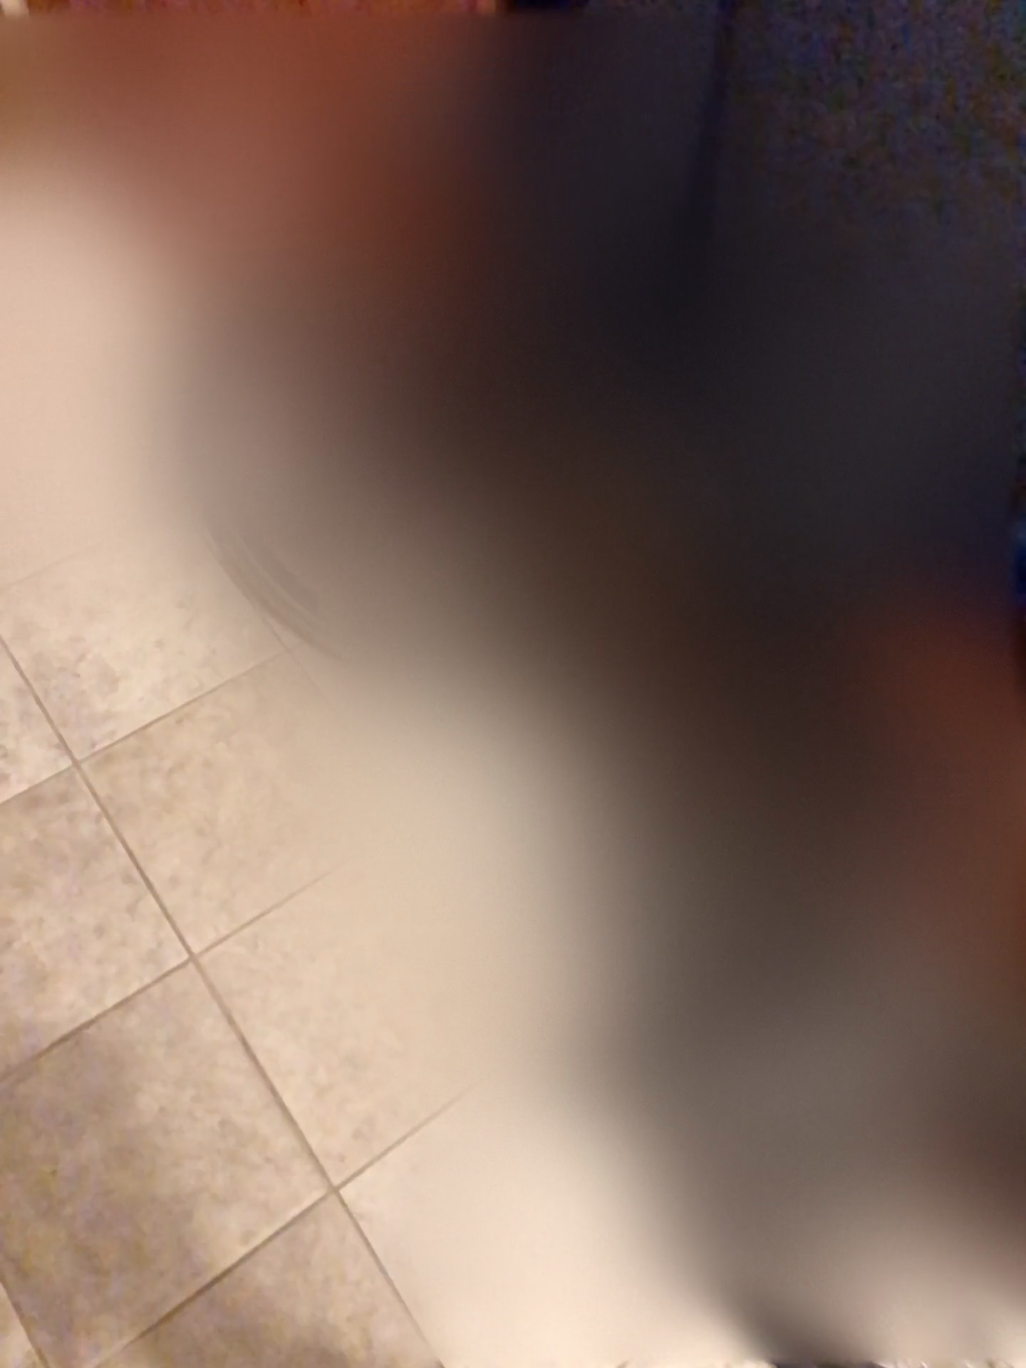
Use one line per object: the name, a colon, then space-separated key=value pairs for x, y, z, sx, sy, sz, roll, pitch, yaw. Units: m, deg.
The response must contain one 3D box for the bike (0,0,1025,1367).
bike: x=0.094 y=-0.017 z=0.943 sx=0.527 sy=0.855 sz=1.356 roll=-28 pitch=67 yaw=-20
